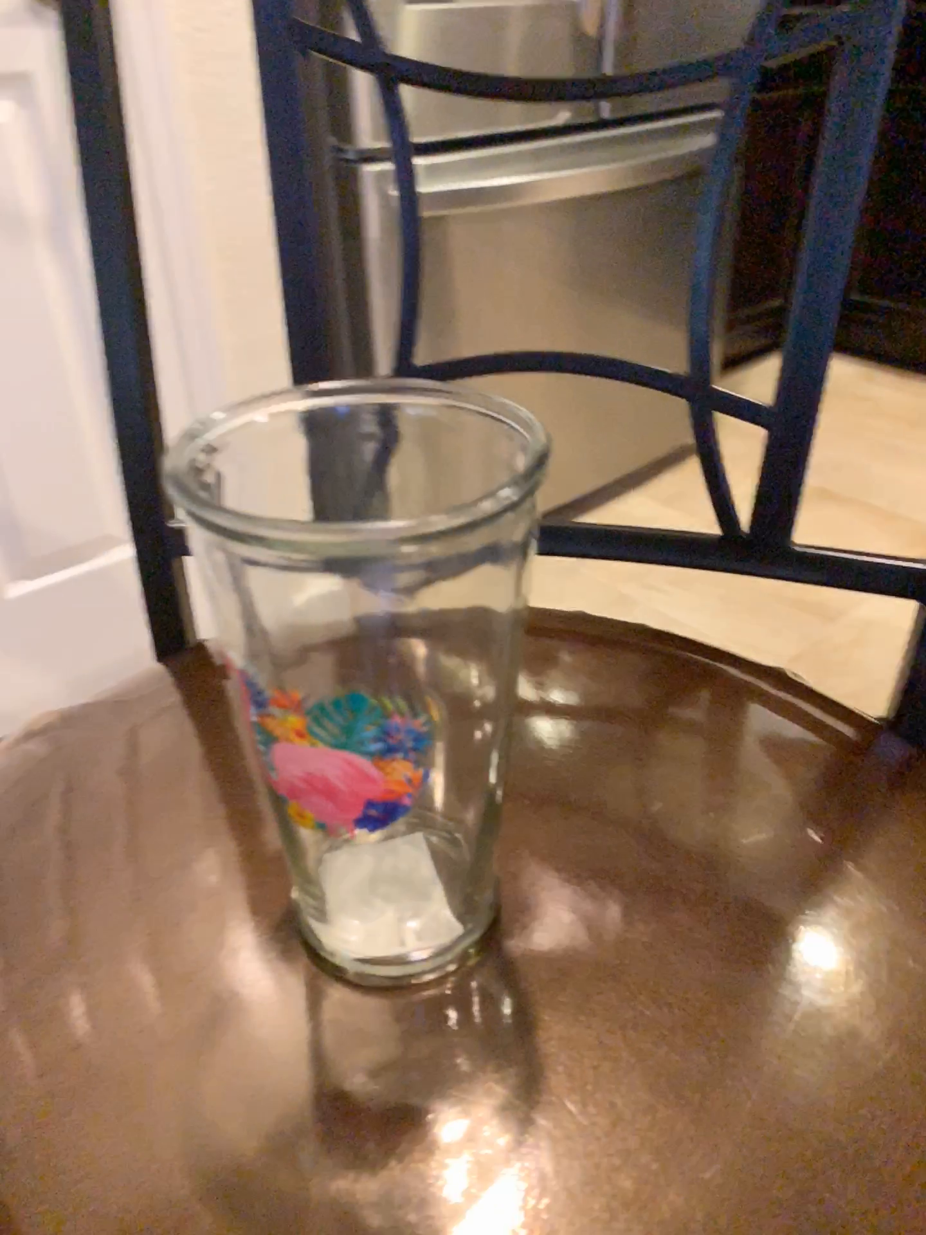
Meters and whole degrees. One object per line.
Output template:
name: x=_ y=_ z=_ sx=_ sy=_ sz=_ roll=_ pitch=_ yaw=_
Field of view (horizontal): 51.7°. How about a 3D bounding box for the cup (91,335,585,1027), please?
cup: x=-0.022 y=0.015 z=0.253 sx=0.080 sy=0.149 sz=0.081 roll=-1 pitch=33 yaw=1
